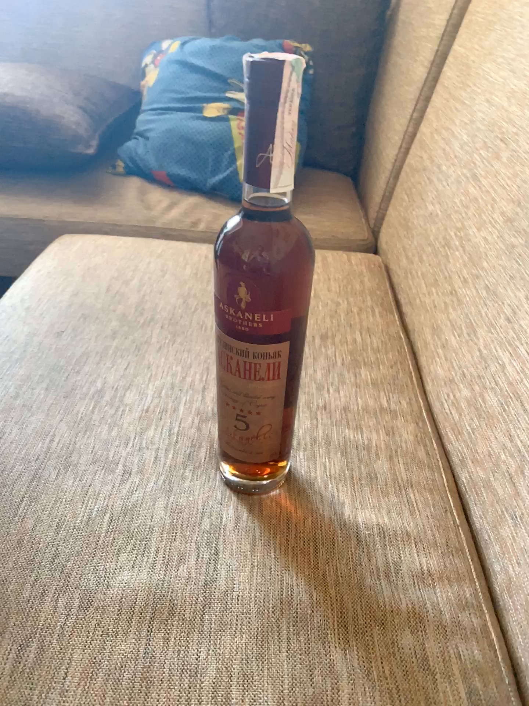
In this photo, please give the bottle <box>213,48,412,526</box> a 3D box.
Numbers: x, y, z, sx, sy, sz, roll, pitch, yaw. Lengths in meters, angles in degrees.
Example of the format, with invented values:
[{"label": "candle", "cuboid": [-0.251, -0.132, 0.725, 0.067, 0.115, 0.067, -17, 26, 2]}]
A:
[{"label": "bottle", "cuboid": [0.018, -0.023, 0.336, 0.070, 0.279, 0.070, 3, 34, -2]}]
